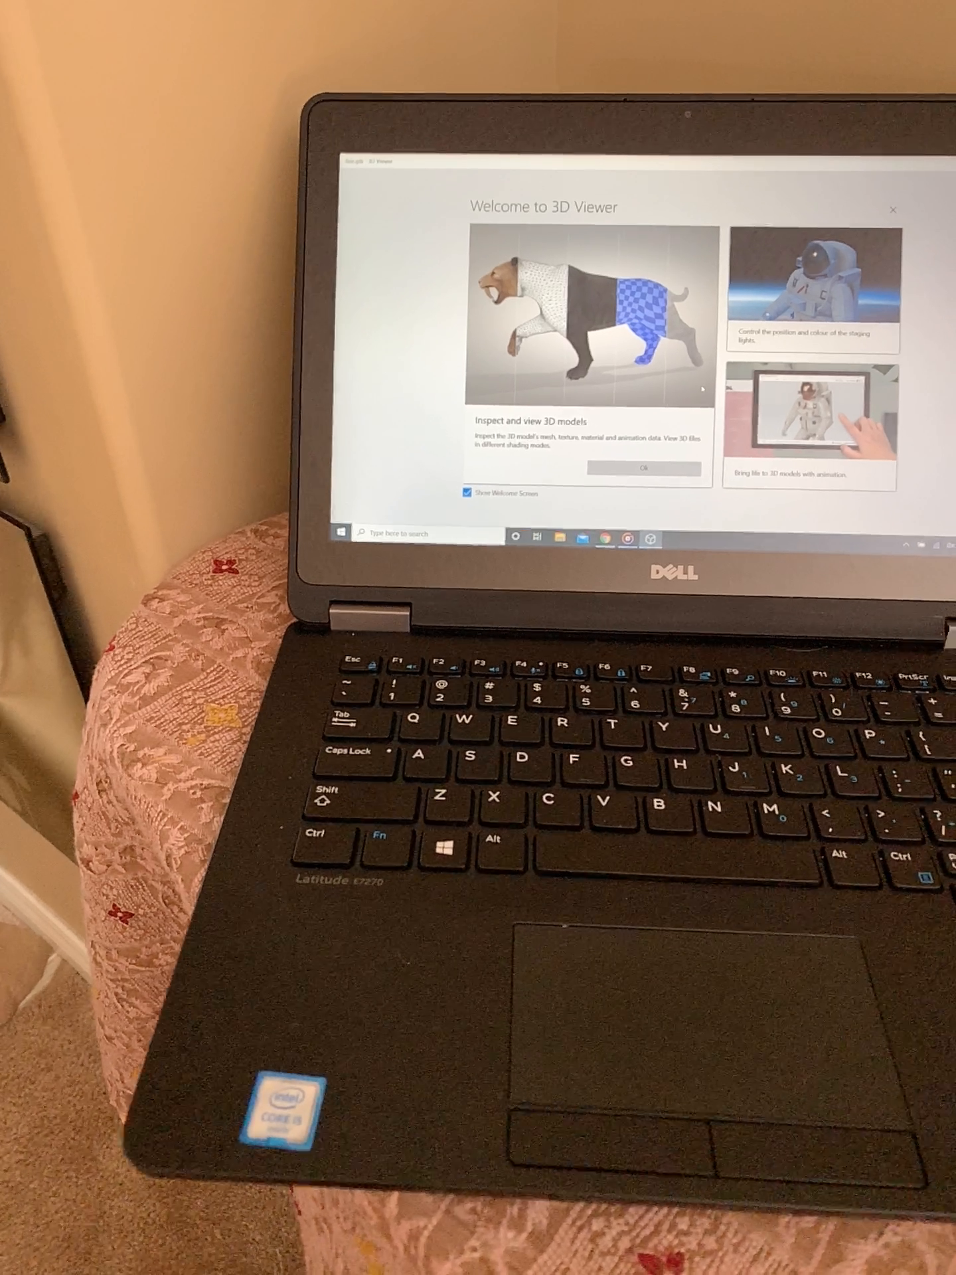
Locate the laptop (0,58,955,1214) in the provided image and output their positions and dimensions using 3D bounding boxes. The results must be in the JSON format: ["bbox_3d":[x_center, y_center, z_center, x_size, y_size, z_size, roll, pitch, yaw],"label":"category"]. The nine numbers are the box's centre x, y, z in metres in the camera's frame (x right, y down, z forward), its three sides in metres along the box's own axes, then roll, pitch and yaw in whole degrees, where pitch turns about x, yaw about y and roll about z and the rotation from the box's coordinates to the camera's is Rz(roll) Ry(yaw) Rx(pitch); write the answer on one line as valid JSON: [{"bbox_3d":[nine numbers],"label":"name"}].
[{"bbox_3d":[0.090,-0.059,0.376,0.366,0.186,0.424,1,42,3],"label":"laptop"}]
